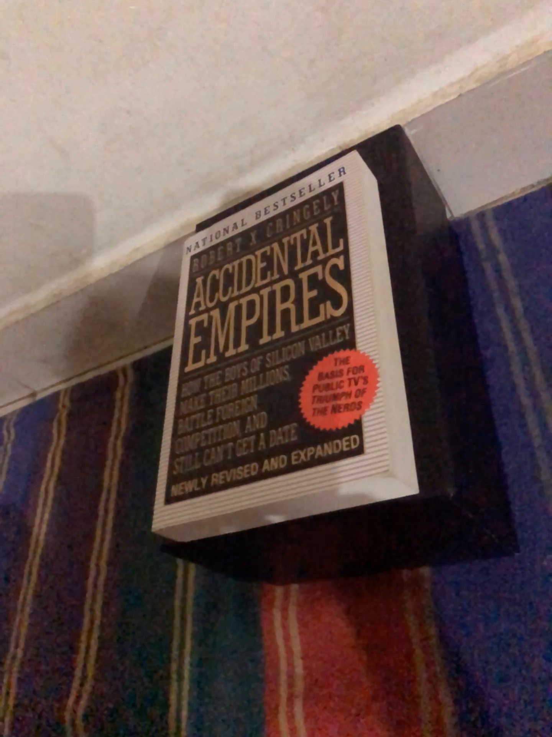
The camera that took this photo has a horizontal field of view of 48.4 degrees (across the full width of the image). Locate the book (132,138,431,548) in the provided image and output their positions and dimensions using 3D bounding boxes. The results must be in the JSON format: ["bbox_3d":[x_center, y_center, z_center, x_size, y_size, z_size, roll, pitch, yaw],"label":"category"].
[{"bbox_3d":[-0.001,-0.016,0.322,0.130,0.040,0.190,-19,52,27],"label":"book"}]
